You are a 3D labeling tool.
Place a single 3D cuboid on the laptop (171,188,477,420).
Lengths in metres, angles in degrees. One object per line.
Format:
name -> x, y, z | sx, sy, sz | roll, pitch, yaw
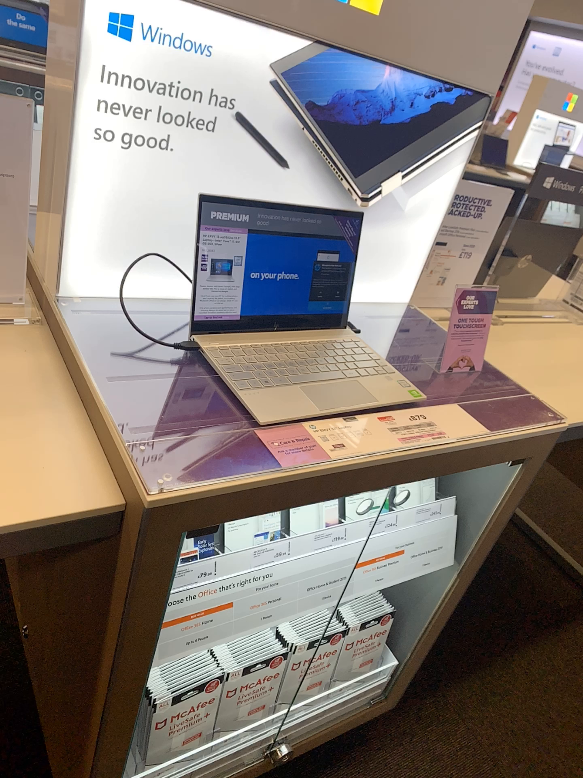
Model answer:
laptop -> 0.036, -0.126, 0.842 | 0.296, 0.181, 0.261 | -6, 38, -36
